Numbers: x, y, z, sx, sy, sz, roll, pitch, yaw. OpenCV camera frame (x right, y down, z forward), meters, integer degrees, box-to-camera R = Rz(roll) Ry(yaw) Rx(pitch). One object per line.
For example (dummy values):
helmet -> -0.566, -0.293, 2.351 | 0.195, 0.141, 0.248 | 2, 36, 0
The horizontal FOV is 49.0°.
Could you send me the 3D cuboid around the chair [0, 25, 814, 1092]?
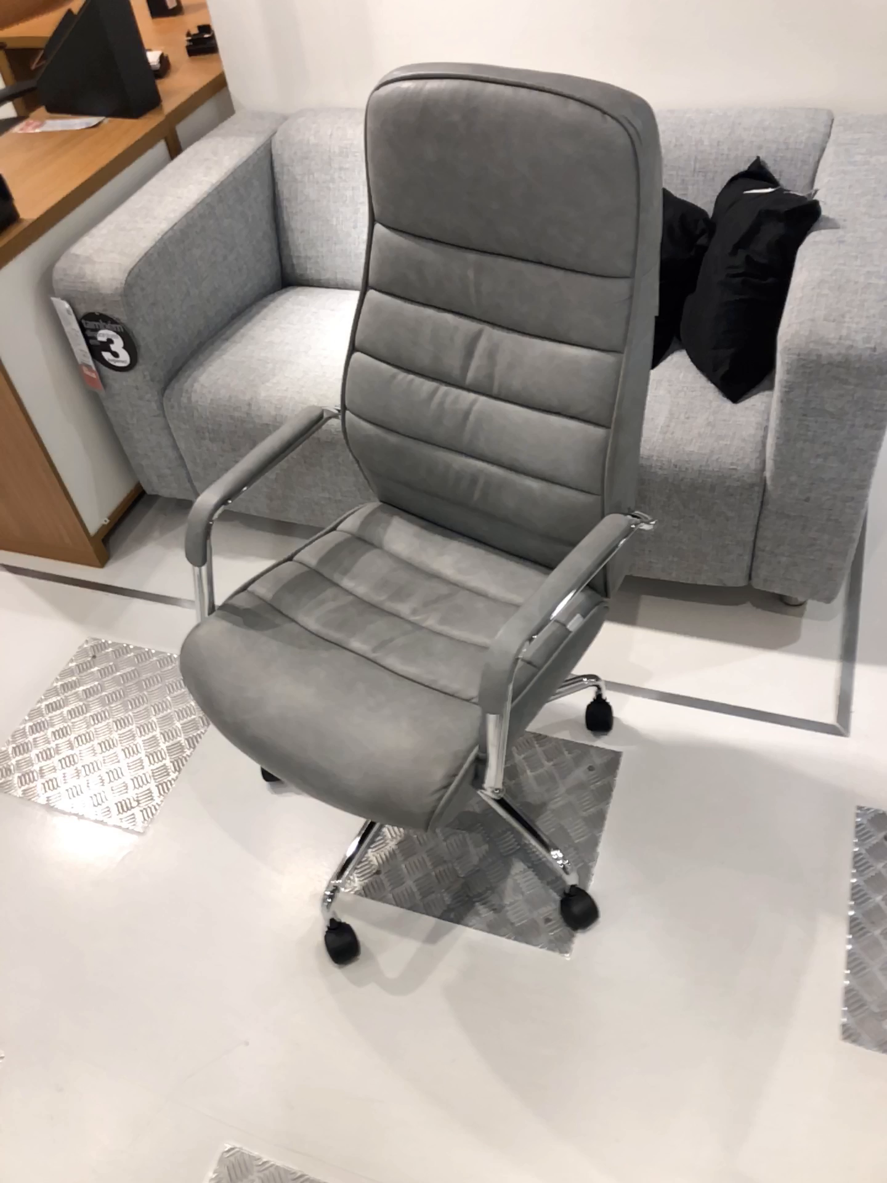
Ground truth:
chair -> -0.072, -0.038, 1.316 | 0.722, 1.053, 0.723 | 24, 54, 29
